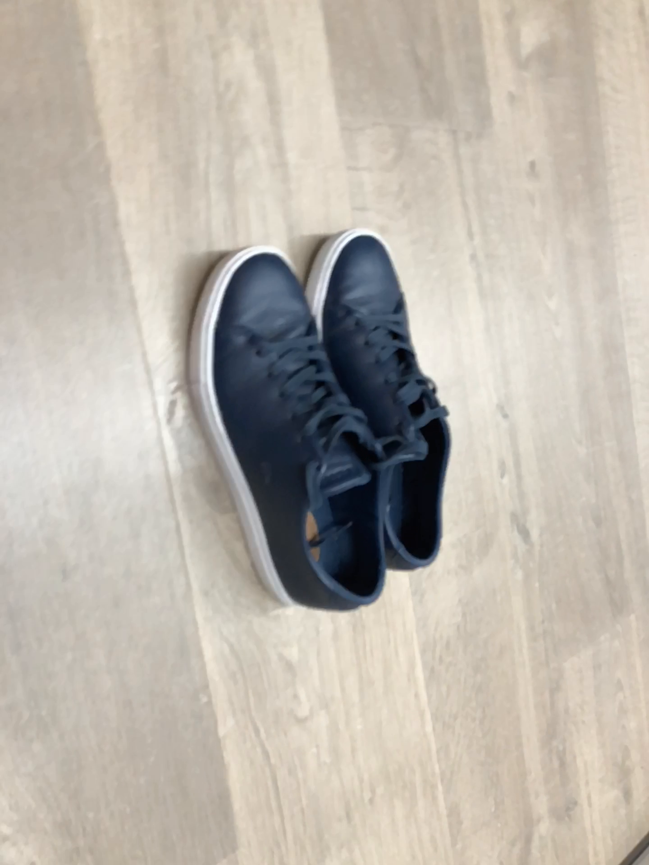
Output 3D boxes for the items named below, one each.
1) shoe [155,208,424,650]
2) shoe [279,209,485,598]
[{"bbox_3d":[-0.019,-0.006,0.450,0.100,0.080,0.247,-16,100,-38],"label":"shoe"},{"bbox_3d":[0.043,-0.022,0.508,0.100,0.080,0.247,-8,95,-38],"label":"shoe"}]
